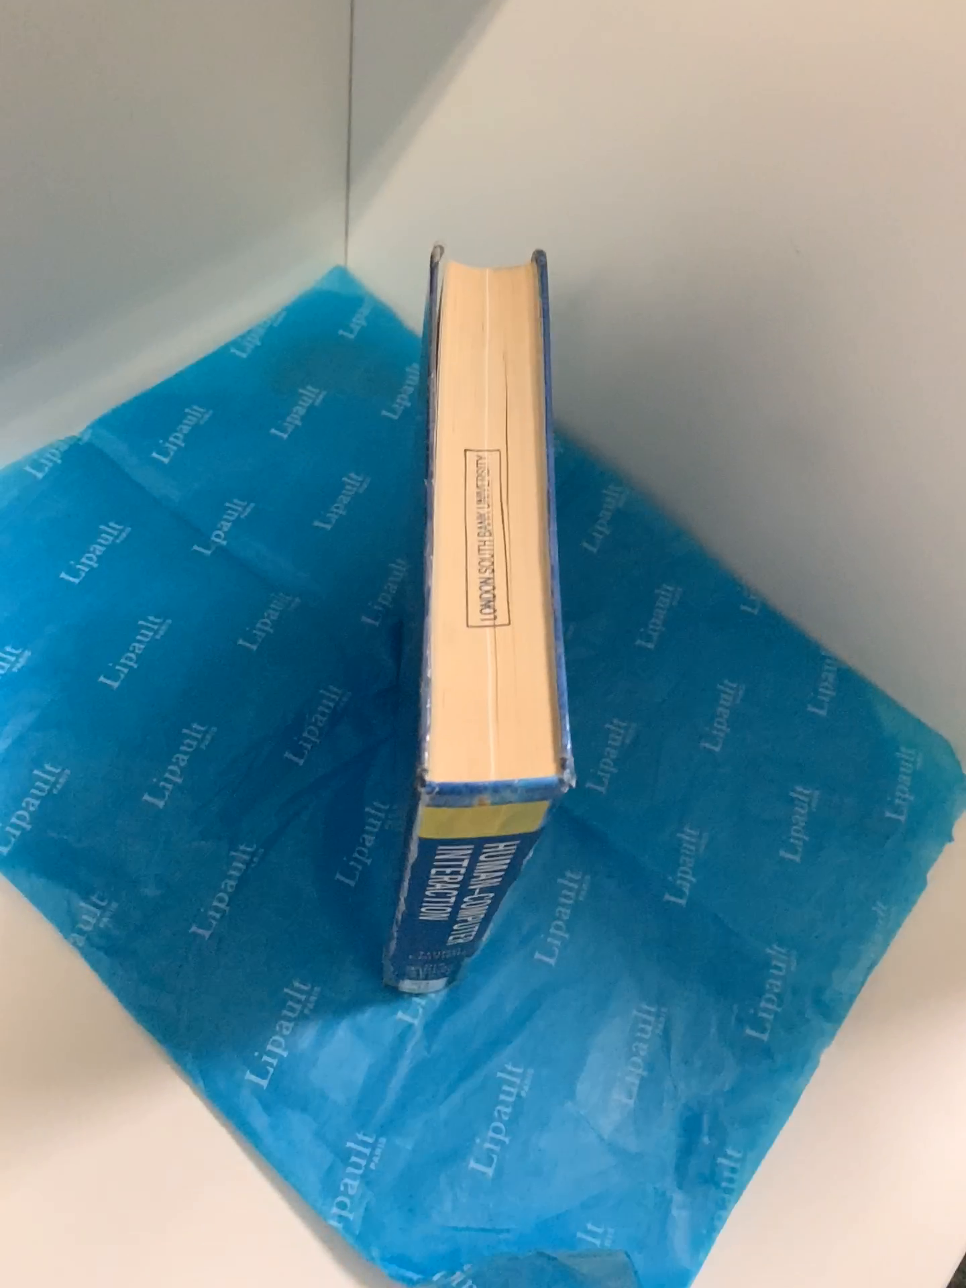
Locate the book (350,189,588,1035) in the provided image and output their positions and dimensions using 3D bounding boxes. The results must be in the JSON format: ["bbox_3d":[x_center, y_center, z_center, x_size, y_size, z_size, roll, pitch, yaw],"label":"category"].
[{"bbox_3d":[-0.022,0.009,0.387,0.050,0.258,0.222,2,58,-7],"label":"book"}]
